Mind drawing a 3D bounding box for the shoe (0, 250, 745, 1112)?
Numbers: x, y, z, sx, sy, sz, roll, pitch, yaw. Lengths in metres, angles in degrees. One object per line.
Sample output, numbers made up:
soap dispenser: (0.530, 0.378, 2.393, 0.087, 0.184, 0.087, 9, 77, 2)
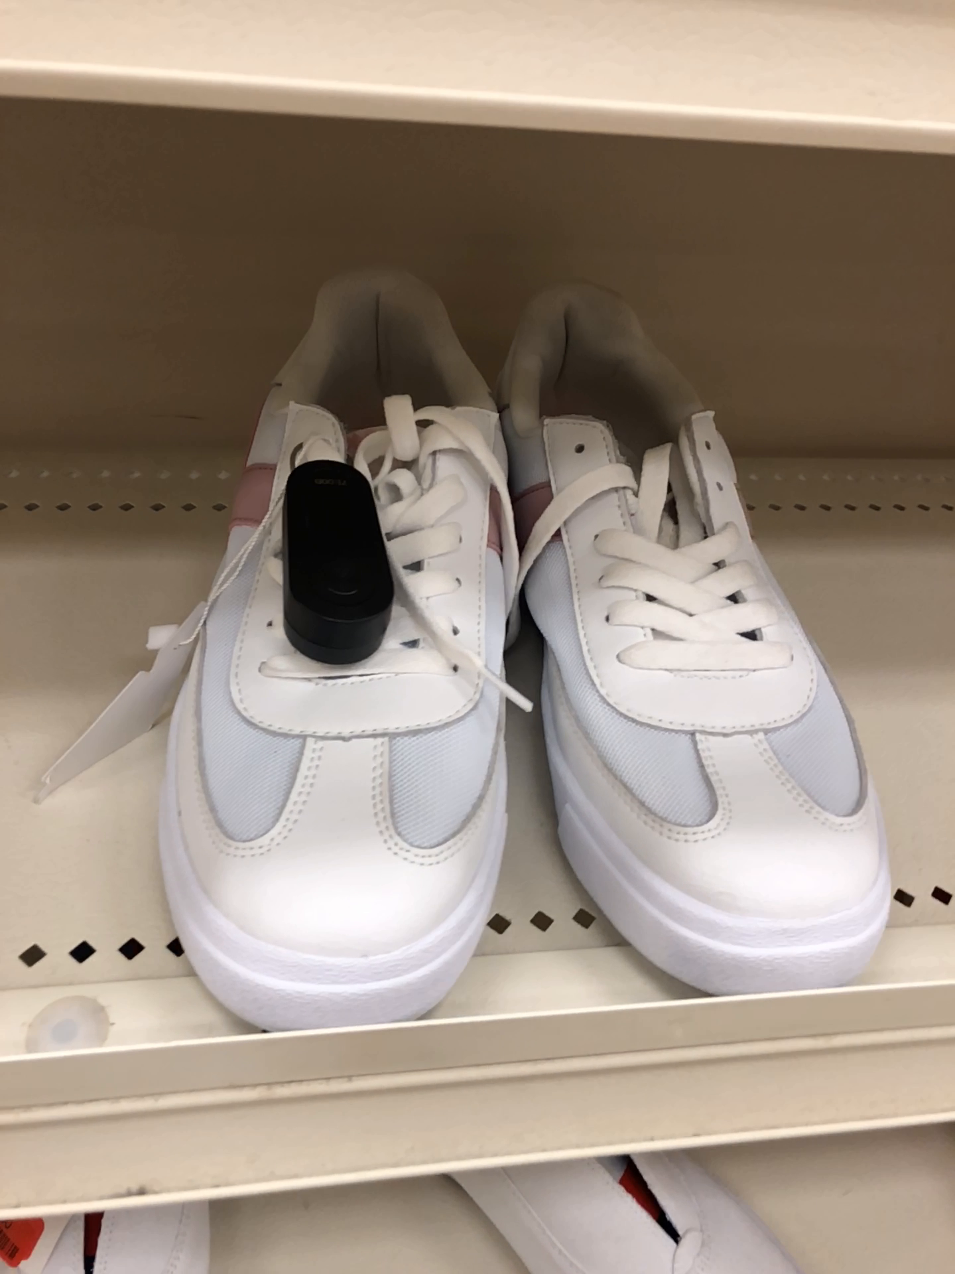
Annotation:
shoe: (-0.037, -0.046, 0.365, 0.120, 0.119, 0.393, 1, 26, -6)

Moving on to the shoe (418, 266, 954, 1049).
shoe: (0.064, -0.049, 0.396, 0.120, 0.119, 0.393, -2, 26, -10)
